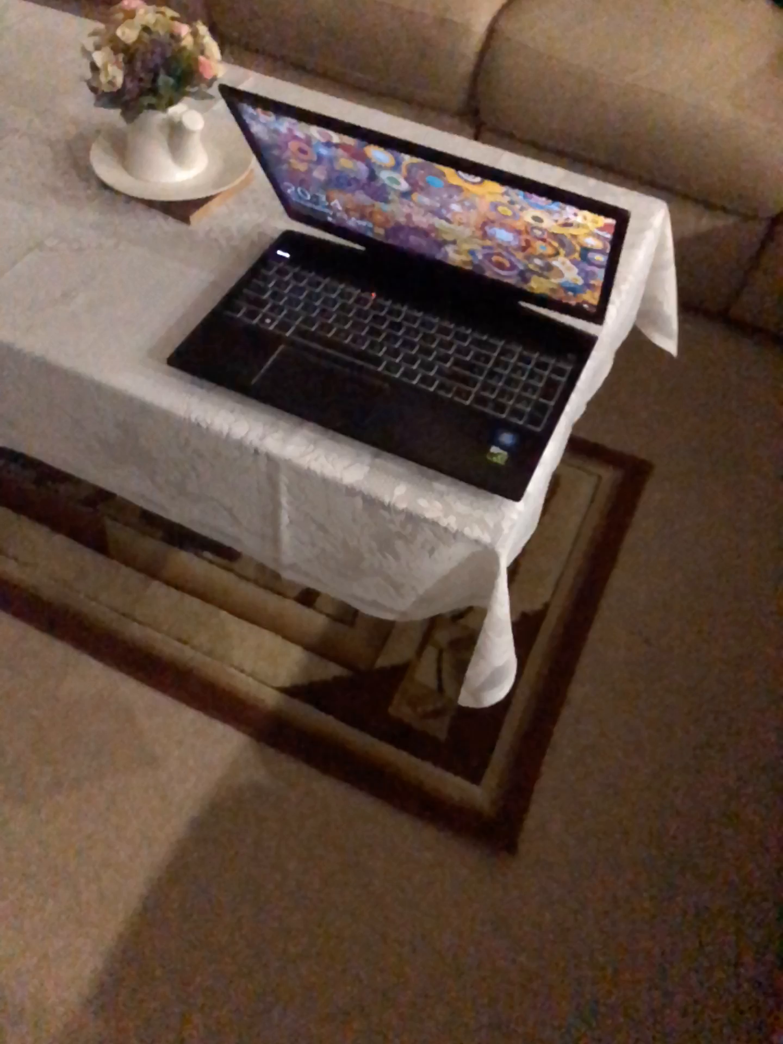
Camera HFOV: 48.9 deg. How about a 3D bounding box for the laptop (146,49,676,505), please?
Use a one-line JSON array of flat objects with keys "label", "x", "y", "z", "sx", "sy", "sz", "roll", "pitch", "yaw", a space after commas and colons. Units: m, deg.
[{"label": "laptop", "x": 0.018, "y": -0.226, "z": 0.768, "sx": 0.355, "sy": 0.199, "sz": 0.243, "roll": 23, "pitch": 54, "yaw": 12}]
